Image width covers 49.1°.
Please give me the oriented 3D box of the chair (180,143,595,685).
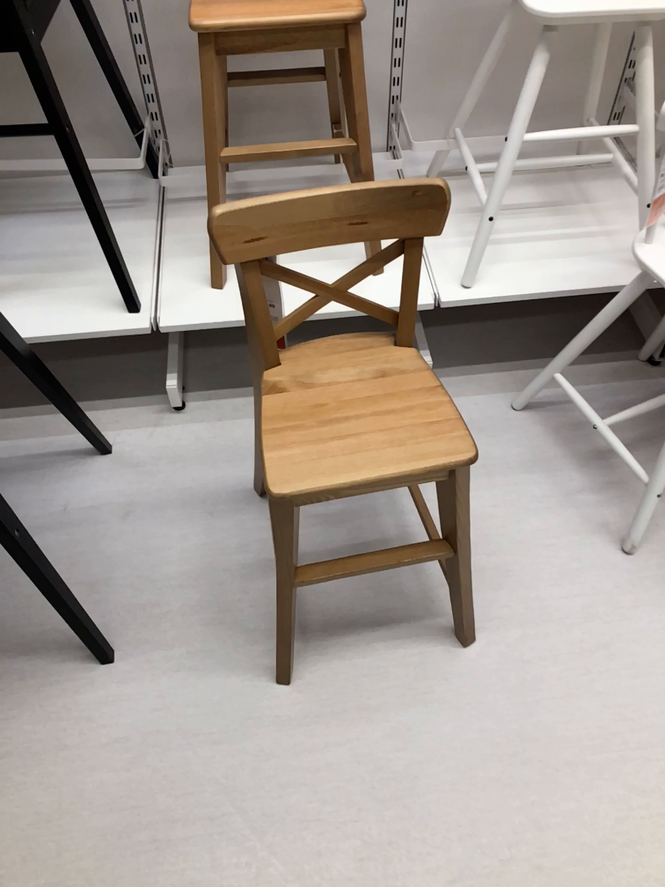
[{"bbox_3d":[0.038,-0.003,1.105,0.390,0.676,0.432,-9,52,-6],"label":"chair"}]
